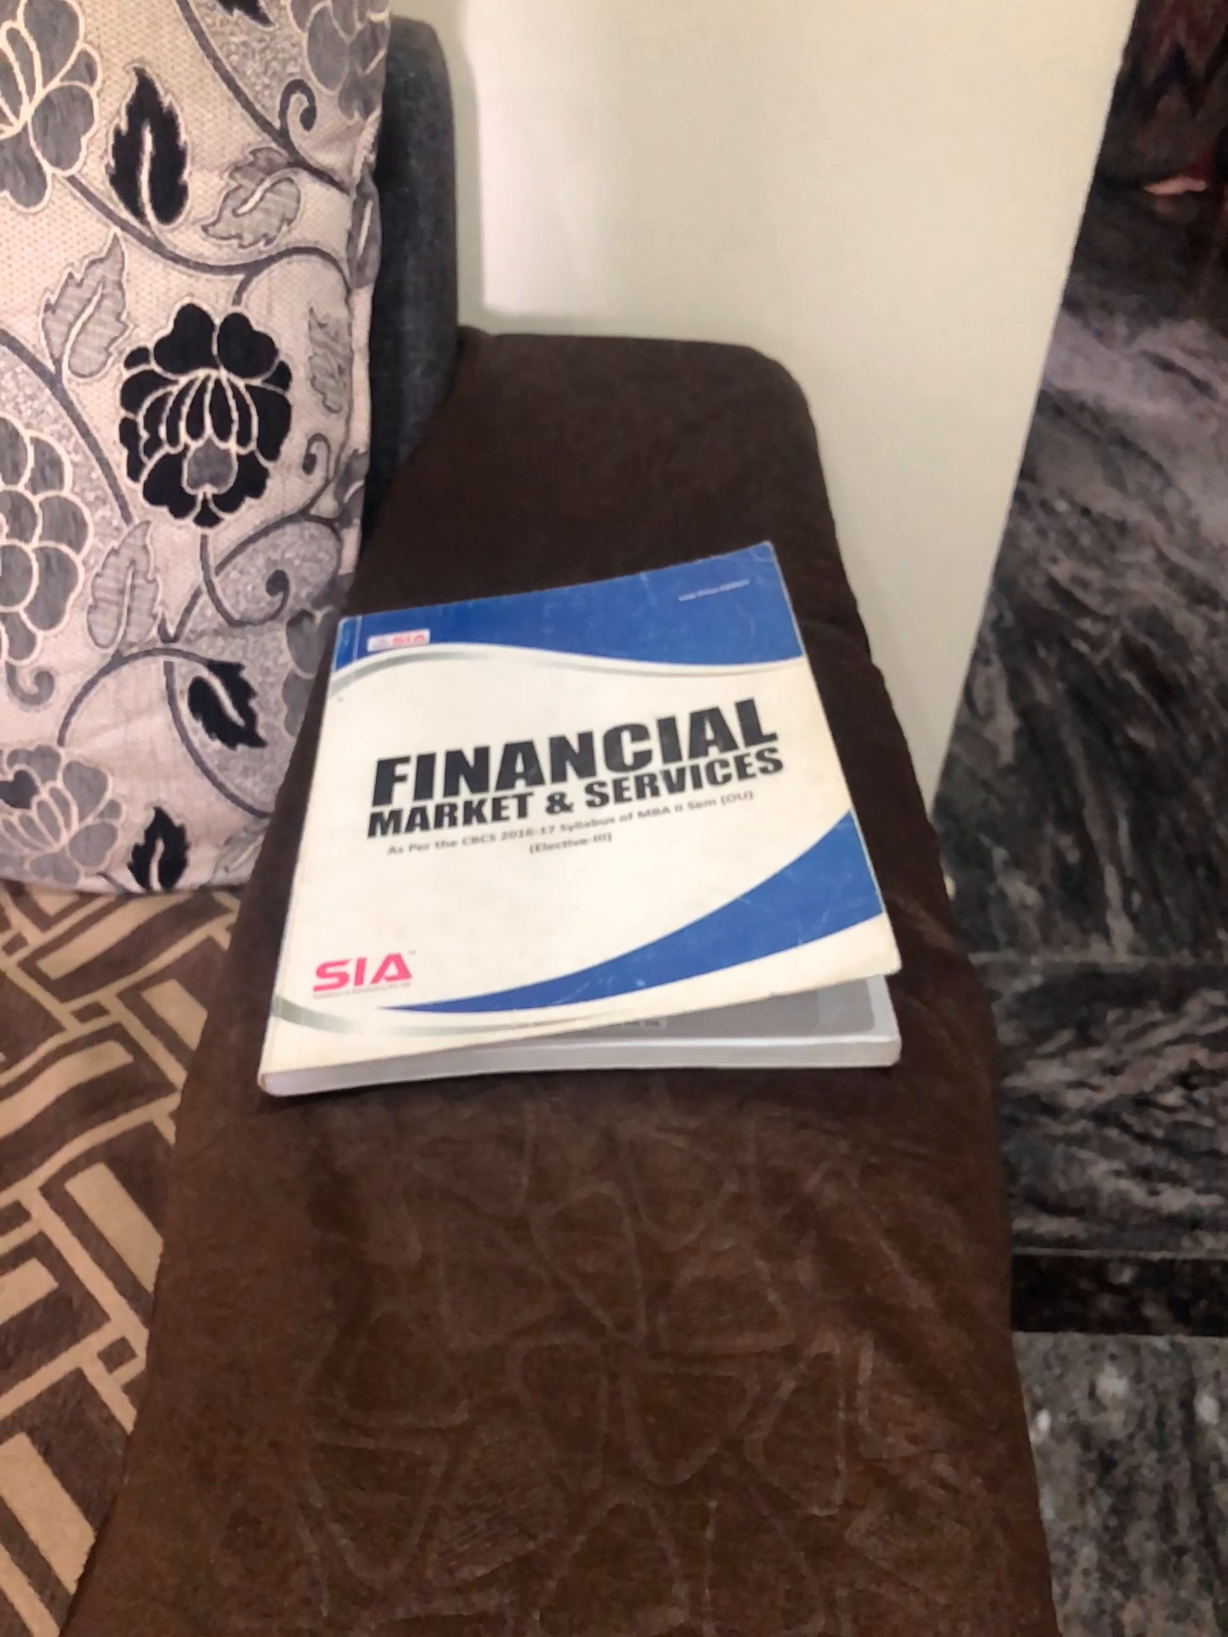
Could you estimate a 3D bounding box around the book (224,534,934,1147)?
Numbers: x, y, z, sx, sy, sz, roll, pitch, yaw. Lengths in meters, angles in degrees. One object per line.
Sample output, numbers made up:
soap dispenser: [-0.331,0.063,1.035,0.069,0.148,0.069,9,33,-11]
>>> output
book: [-0.018,-0.013,0.545,0.220,0.040,0.291,-7,39,1]
